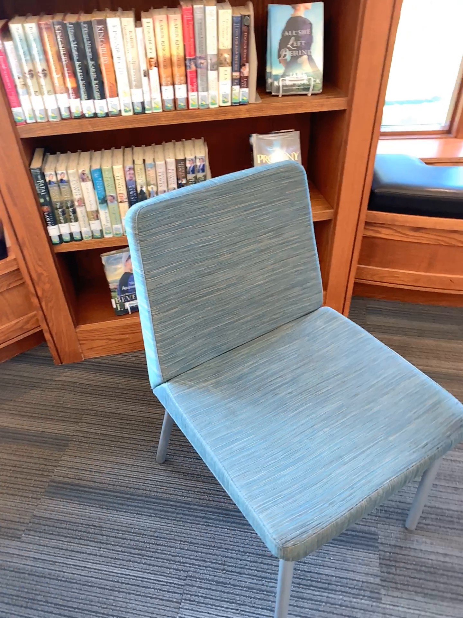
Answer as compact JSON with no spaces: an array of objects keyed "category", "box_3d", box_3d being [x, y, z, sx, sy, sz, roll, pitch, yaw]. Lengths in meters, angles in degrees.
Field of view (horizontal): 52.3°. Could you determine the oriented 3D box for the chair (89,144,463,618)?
[{"category":"chair","box_3d":[0.135,0.177,1.032,0.550,0.786,0.592,-23,44,-24]}]
